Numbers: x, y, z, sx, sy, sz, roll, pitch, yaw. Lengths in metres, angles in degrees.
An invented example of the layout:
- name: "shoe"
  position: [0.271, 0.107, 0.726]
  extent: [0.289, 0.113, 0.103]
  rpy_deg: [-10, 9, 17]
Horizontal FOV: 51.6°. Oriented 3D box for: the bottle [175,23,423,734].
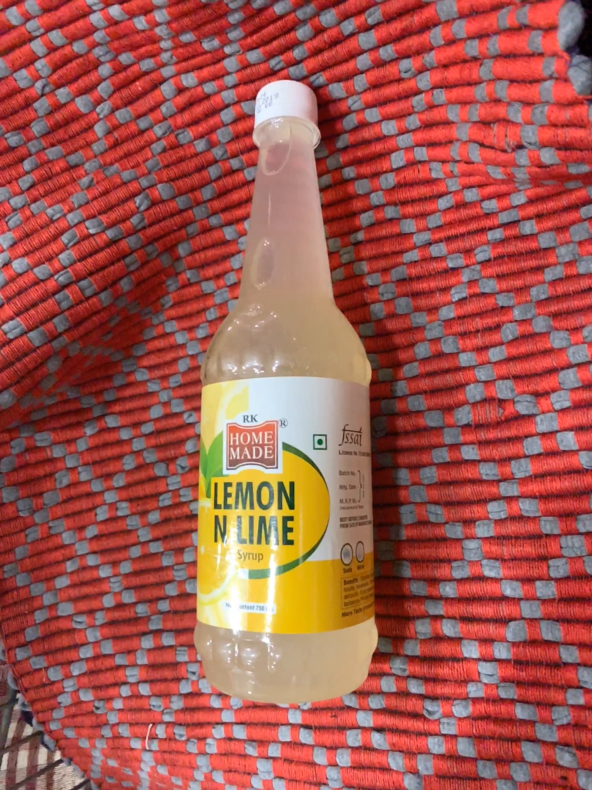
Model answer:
- name: "bottle"
  position: [0.008, -0.012, 0.265]
  extent: [0.070, 0.070, 0.260]
  rpy_deg: [-6, 76, 31]
